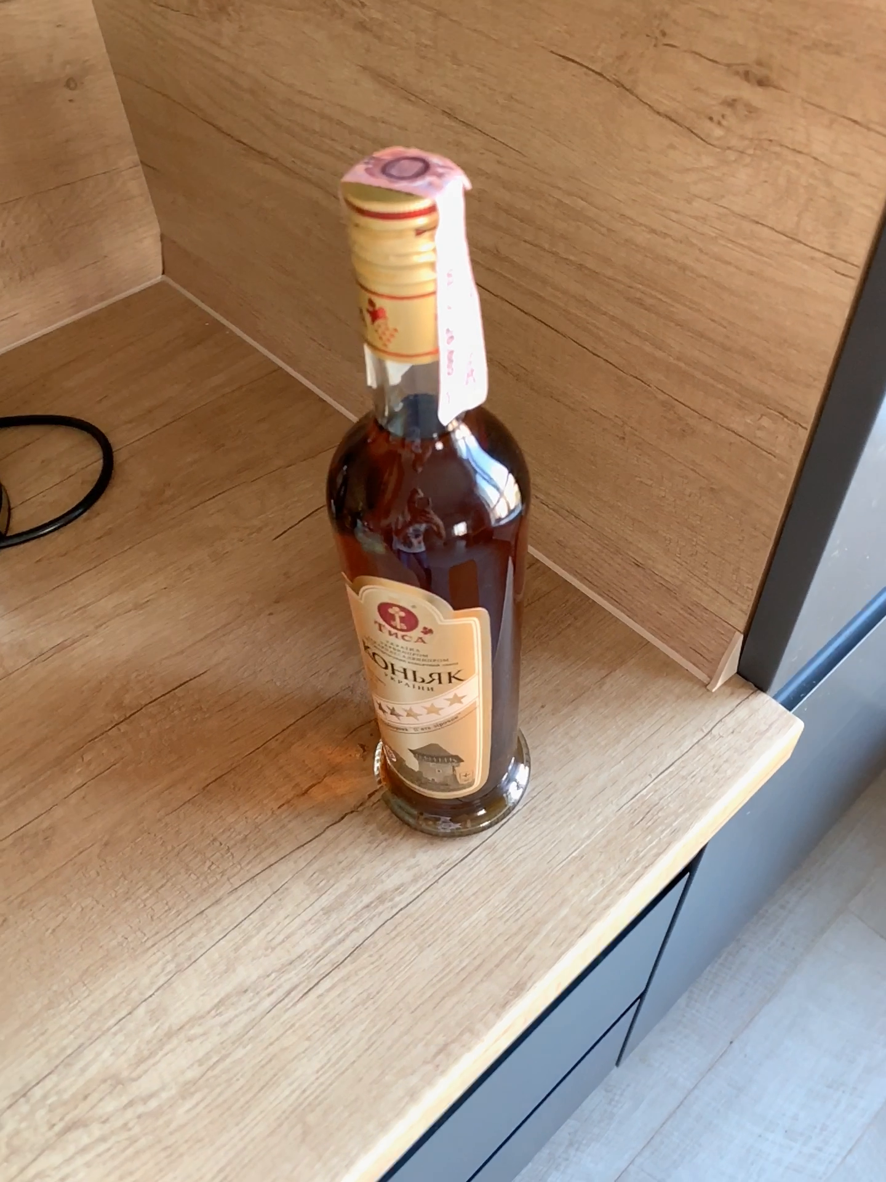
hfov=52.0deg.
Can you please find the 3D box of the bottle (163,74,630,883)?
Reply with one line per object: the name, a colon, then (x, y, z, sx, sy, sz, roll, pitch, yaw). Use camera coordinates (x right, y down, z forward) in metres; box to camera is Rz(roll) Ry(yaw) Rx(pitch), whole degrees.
bottle: (-0.001, -0.004, 0.303, 0.080, 0.279, 0.070, 15, 52, 16)
